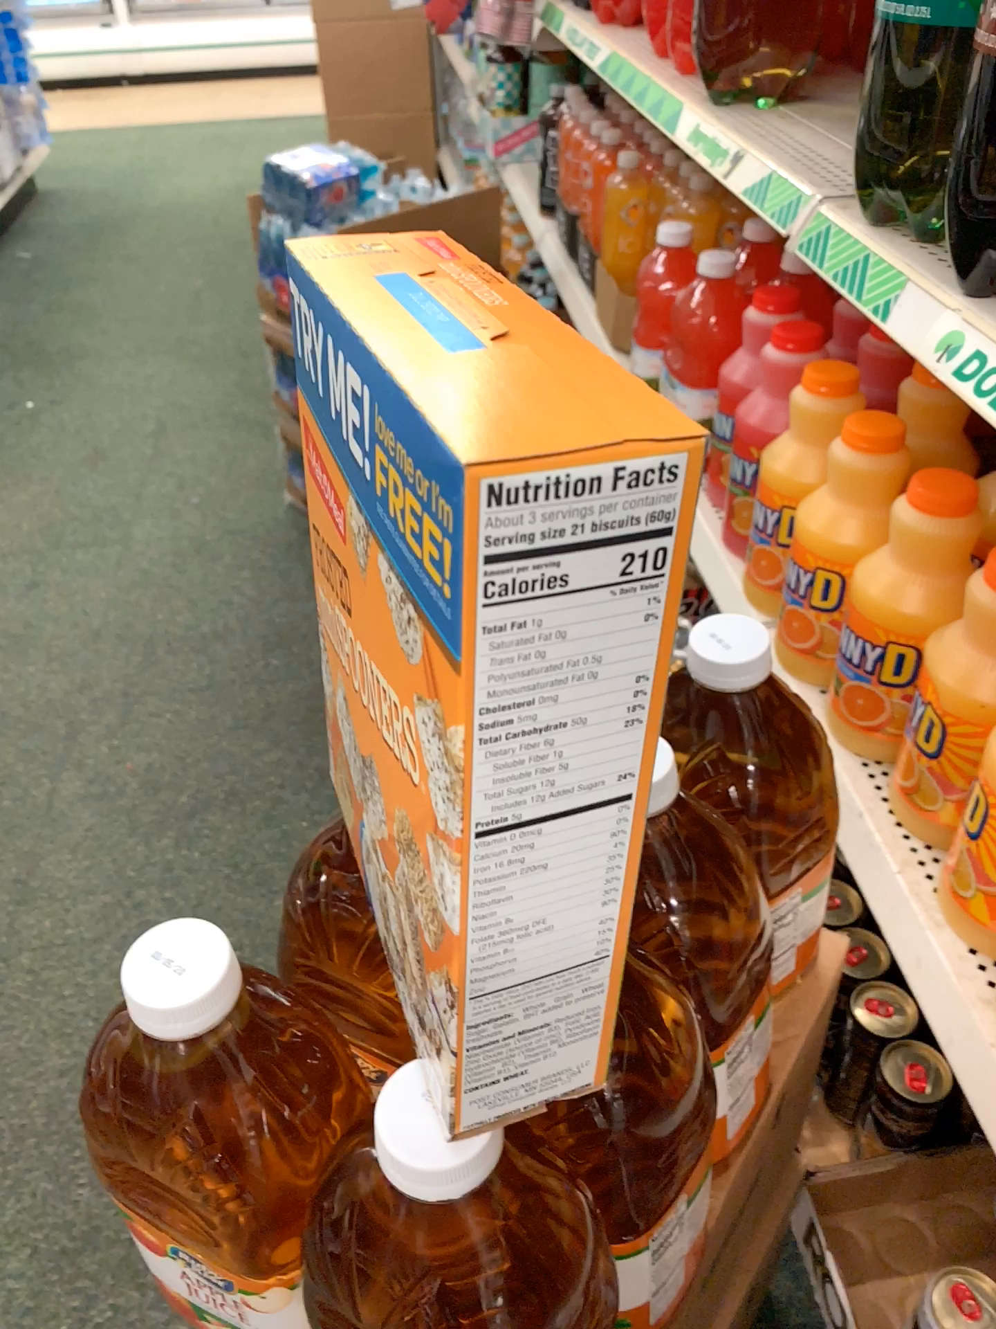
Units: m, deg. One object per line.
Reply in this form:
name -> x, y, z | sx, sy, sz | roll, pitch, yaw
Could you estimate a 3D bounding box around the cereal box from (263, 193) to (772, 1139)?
cereal box -> -0.015, -0.003, 0.309 | 0.060, 0.219, 0.171 | -11, 39, -19
